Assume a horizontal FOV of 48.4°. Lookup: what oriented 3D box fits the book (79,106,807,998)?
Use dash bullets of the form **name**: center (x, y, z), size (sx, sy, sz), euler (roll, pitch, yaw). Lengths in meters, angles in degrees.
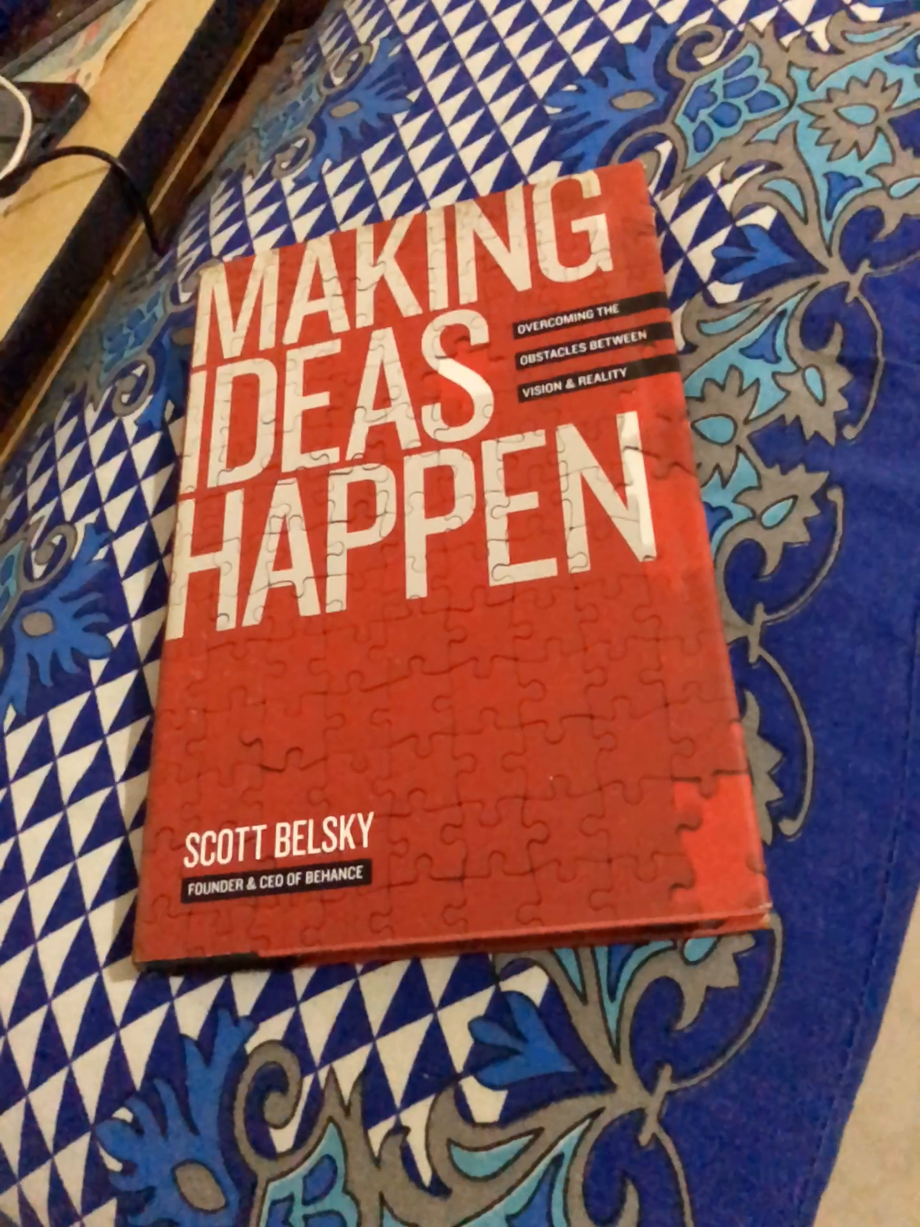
- **book**: center (-0.009, -0.031, 0.290), size (0.160, 0.030, 0.250), euler (-9, 59, 13)
